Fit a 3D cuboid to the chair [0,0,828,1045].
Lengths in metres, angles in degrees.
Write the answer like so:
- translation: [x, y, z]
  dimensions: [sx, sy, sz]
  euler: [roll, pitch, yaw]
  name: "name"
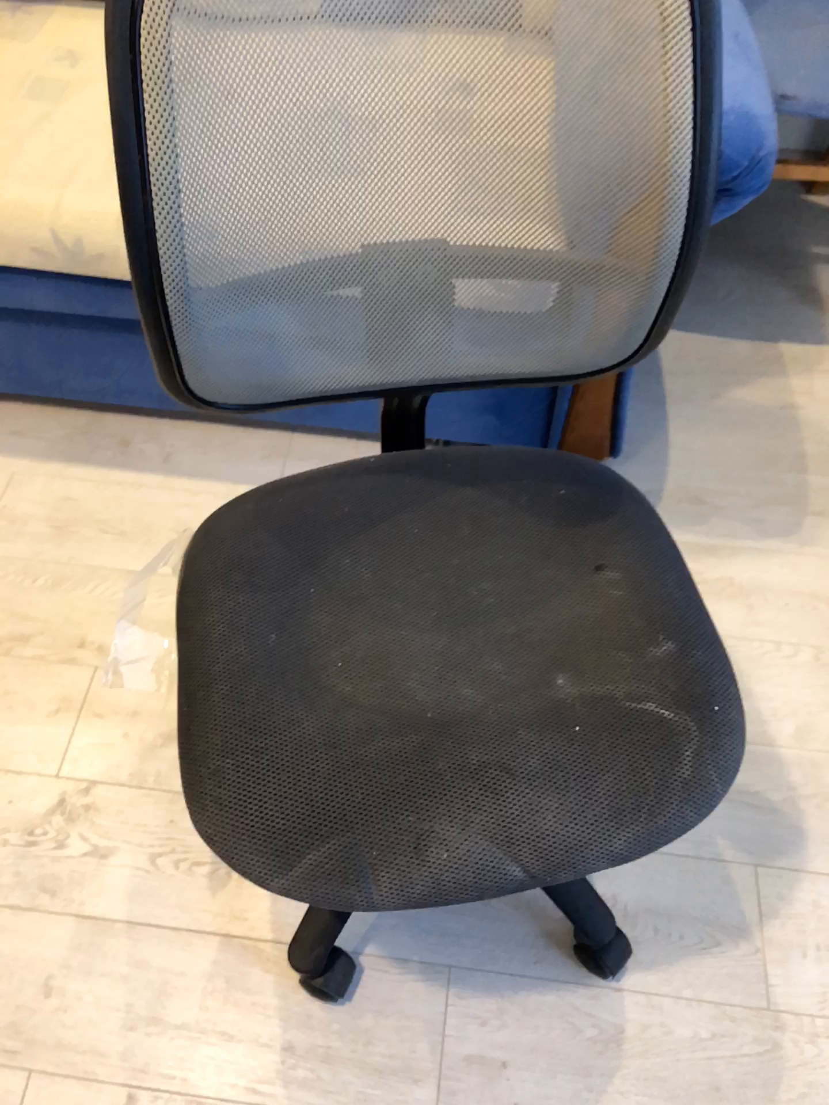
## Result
- translation: [0.005, 0.005, 0.695]
  dimensions: [0.660, 0.736, 0.513]
  euler: [-5, 55, -3]
  name: "chair"
